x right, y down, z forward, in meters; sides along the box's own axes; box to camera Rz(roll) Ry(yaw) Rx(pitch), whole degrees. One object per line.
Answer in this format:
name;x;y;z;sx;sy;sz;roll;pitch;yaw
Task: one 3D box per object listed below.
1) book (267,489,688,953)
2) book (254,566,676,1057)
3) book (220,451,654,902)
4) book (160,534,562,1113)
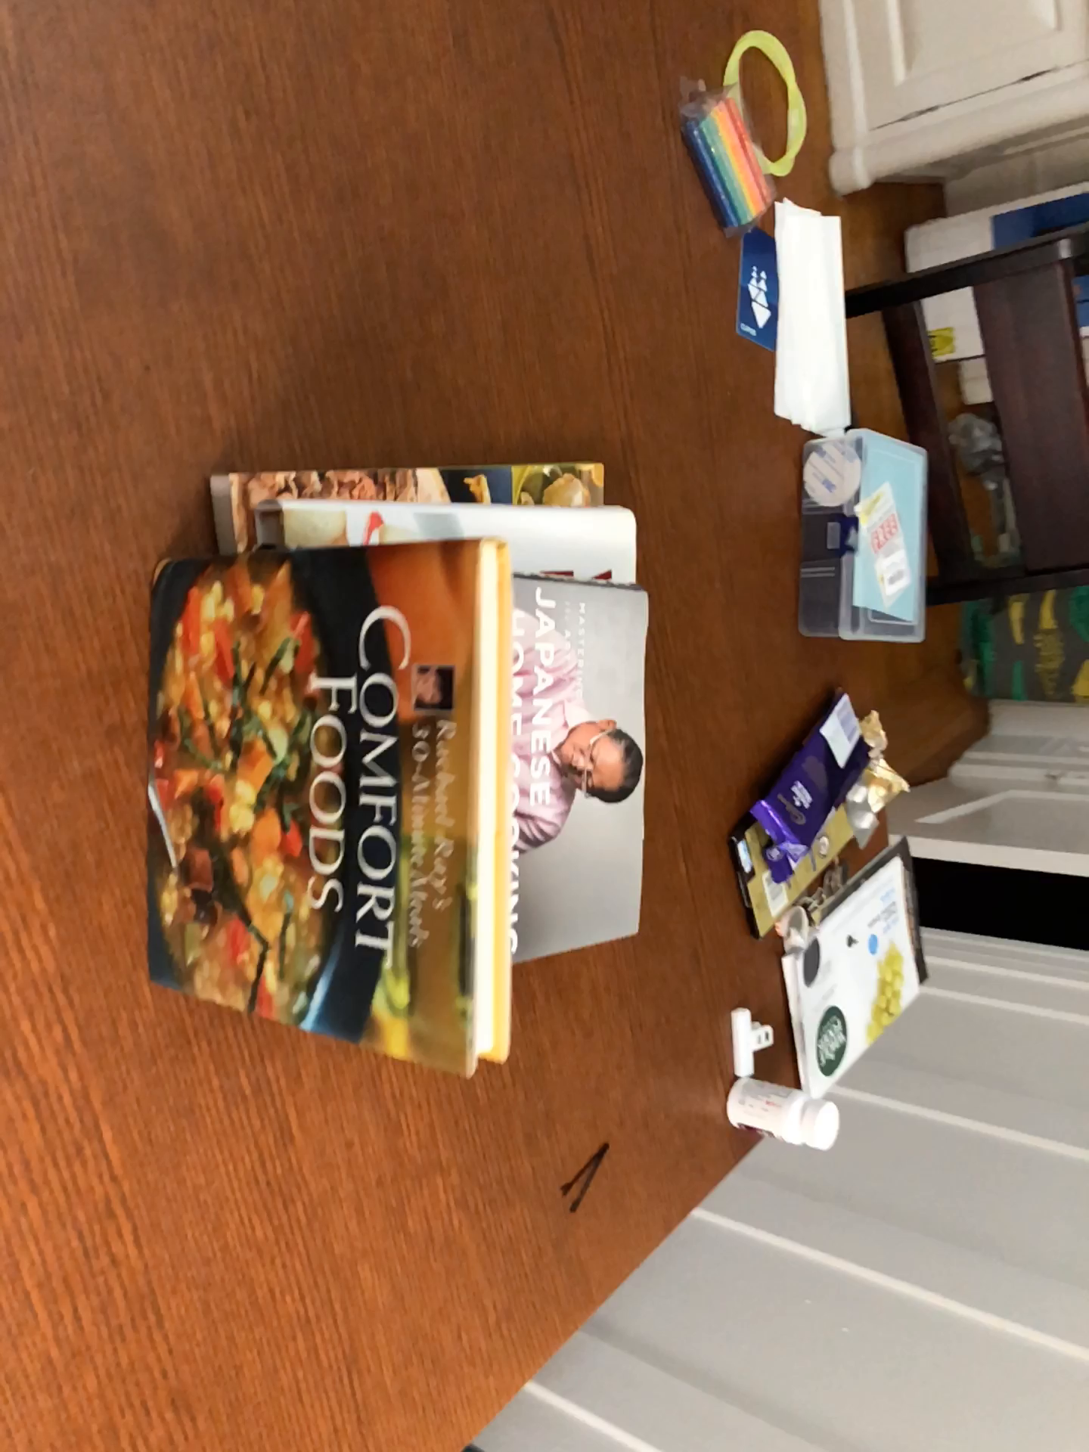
book;-0.019;-0.017;0.674;0.281;0.030;0.220;-10;99;-46
book;-0.027;0.034;0.646;0.281;0.030;0.220;-3;94;-47
book;-0.043;-0.044;0.689;0.281;0.030;0.220;-13;102;-46
book;-0.088;0.030;0.510;0.030;0.209;0.210;1;93;-50
